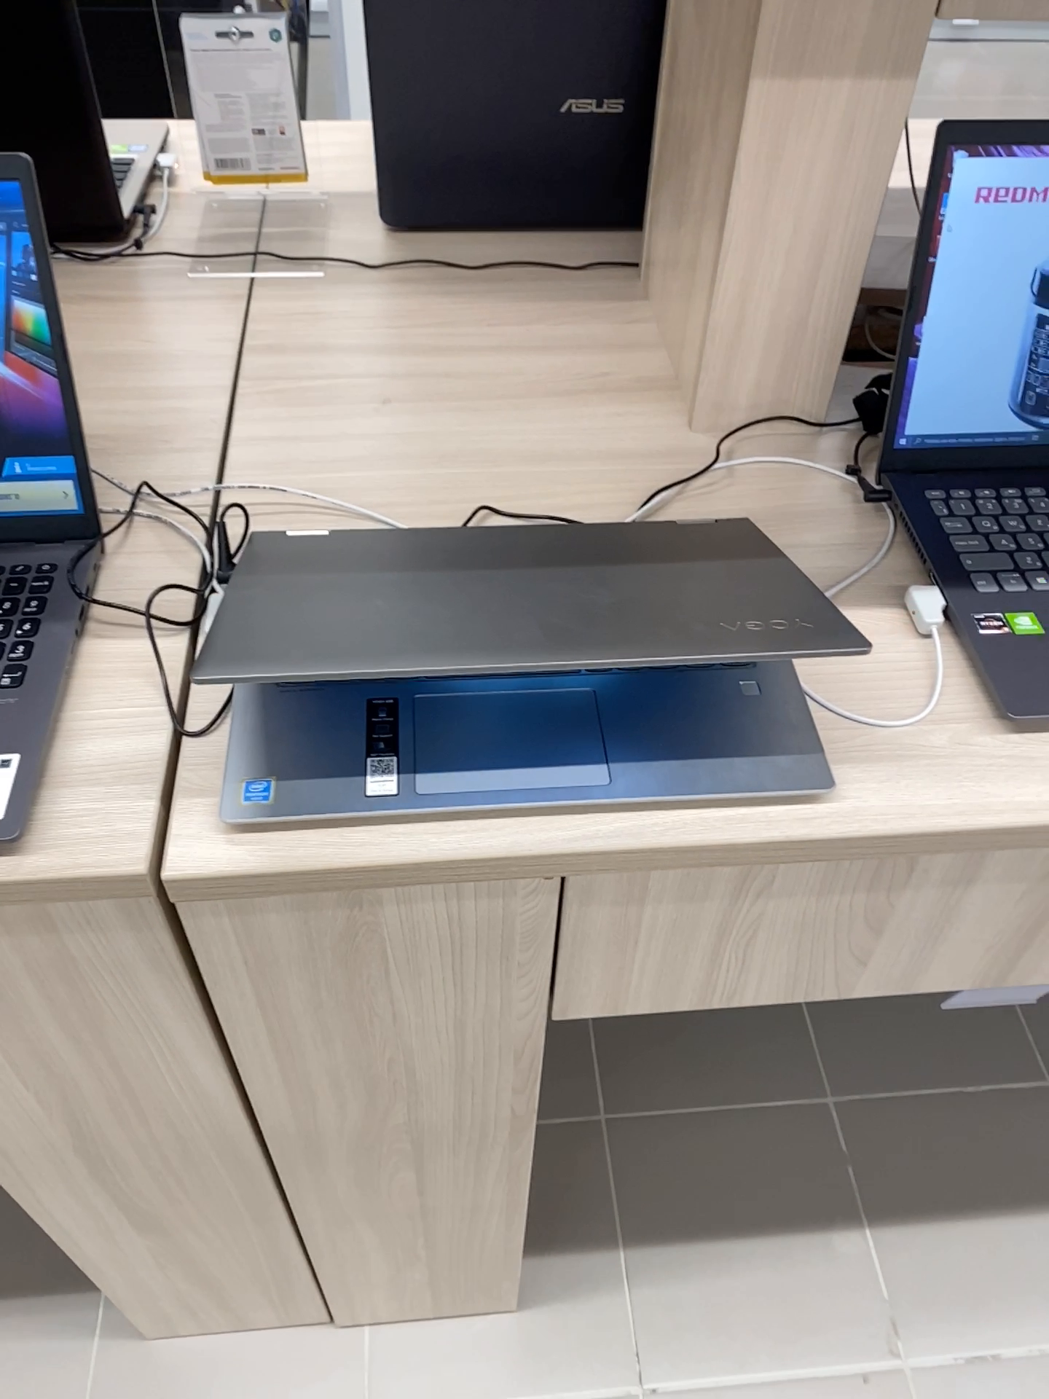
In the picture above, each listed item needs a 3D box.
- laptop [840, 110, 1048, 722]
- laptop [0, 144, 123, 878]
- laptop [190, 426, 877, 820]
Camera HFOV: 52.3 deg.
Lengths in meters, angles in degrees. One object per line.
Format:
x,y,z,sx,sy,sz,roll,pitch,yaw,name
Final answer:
0.459,-0.185,0.653,0.389,0.215,0.304,-4,48,-7,laptop
-0.438,-0.109,0.542,0.352,0.212,0.309,-2,47,-5,laptop
-0.001,-0.053,0.606,0.325,0.082,0.219,-2,48,-4,laptop
